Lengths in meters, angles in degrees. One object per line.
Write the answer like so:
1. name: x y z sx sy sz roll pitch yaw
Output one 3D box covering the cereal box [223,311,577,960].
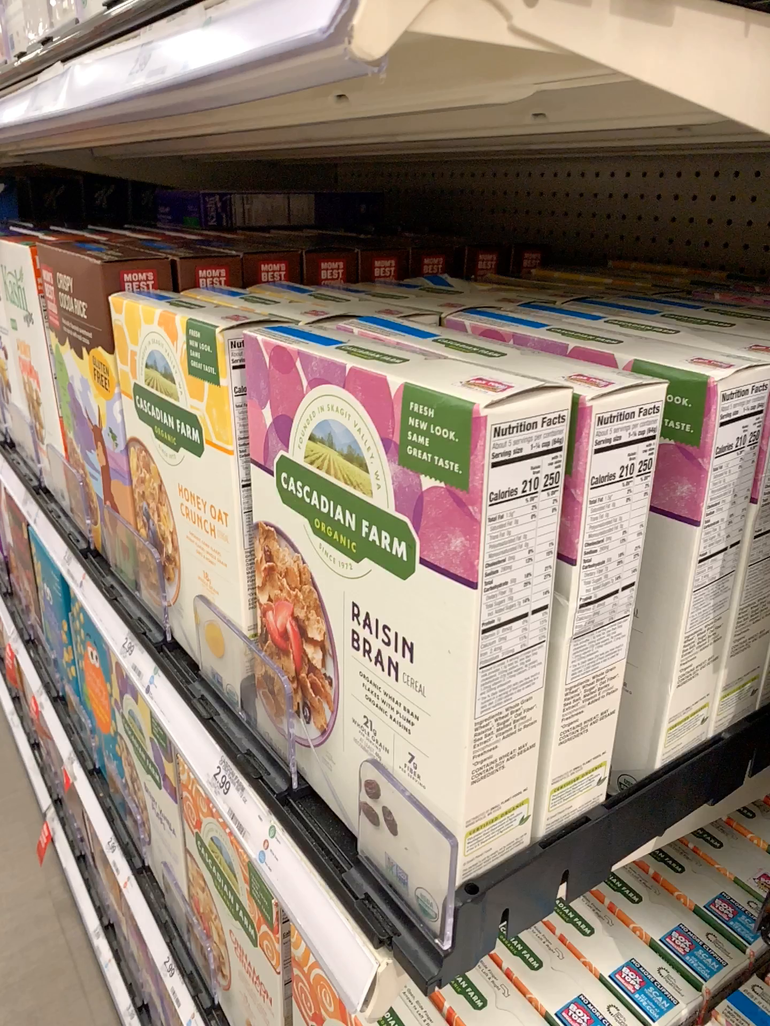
1. cereal box: -0.006 0.048 0.408 0.050 0.269 0.201 -16 27 -32
